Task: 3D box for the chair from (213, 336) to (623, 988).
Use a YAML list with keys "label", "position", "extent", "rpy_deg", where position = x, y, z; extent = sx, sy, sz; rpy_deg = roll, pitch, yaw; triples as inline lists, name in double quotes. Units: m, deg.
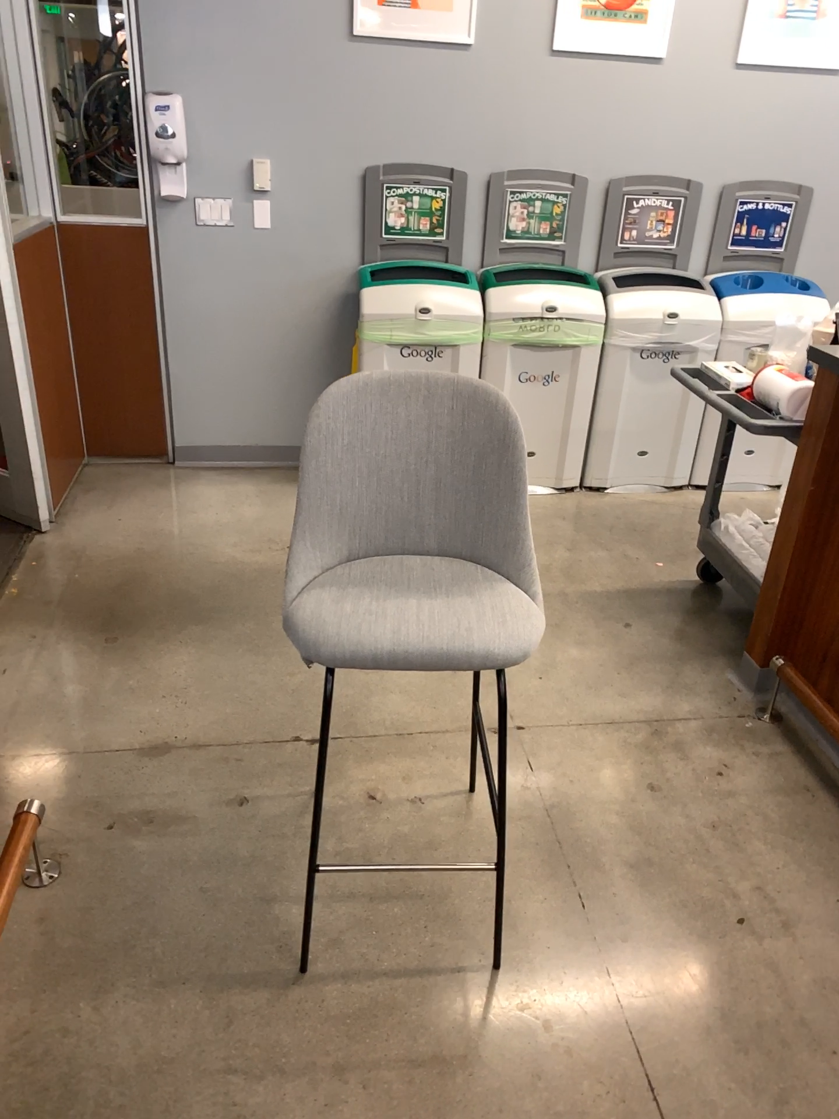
- label: "chair"
  position: [-0.055, 0.177, 1.828]
  extent: [0.590, 1.094, 0.814]
  rpy_deg: [1, 27, -5]
